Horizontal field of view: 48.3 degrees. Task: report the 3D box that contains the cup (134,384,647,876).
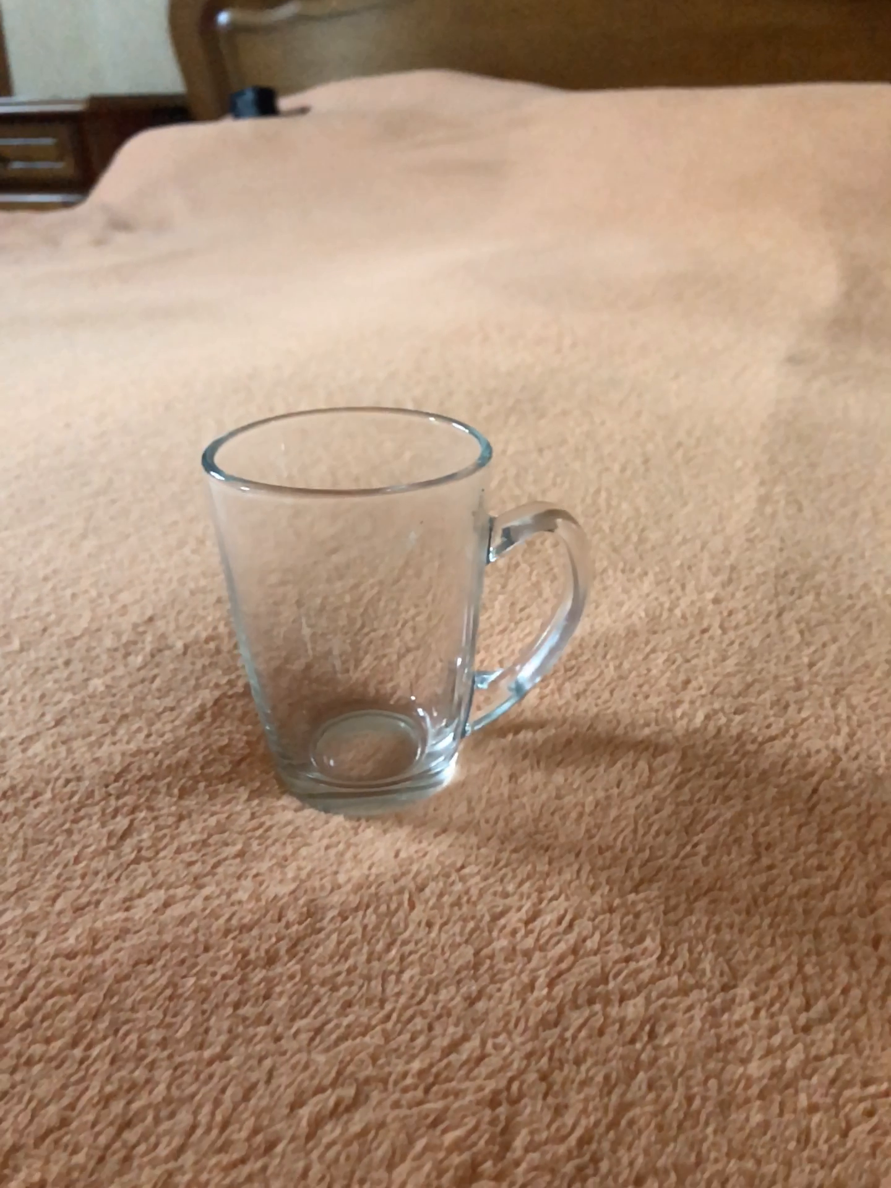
[{"bbox_3d":[-0.014,0.004,0.243,0.100,0.089,0.070,-4,26,-8],"label":"cup"}]
